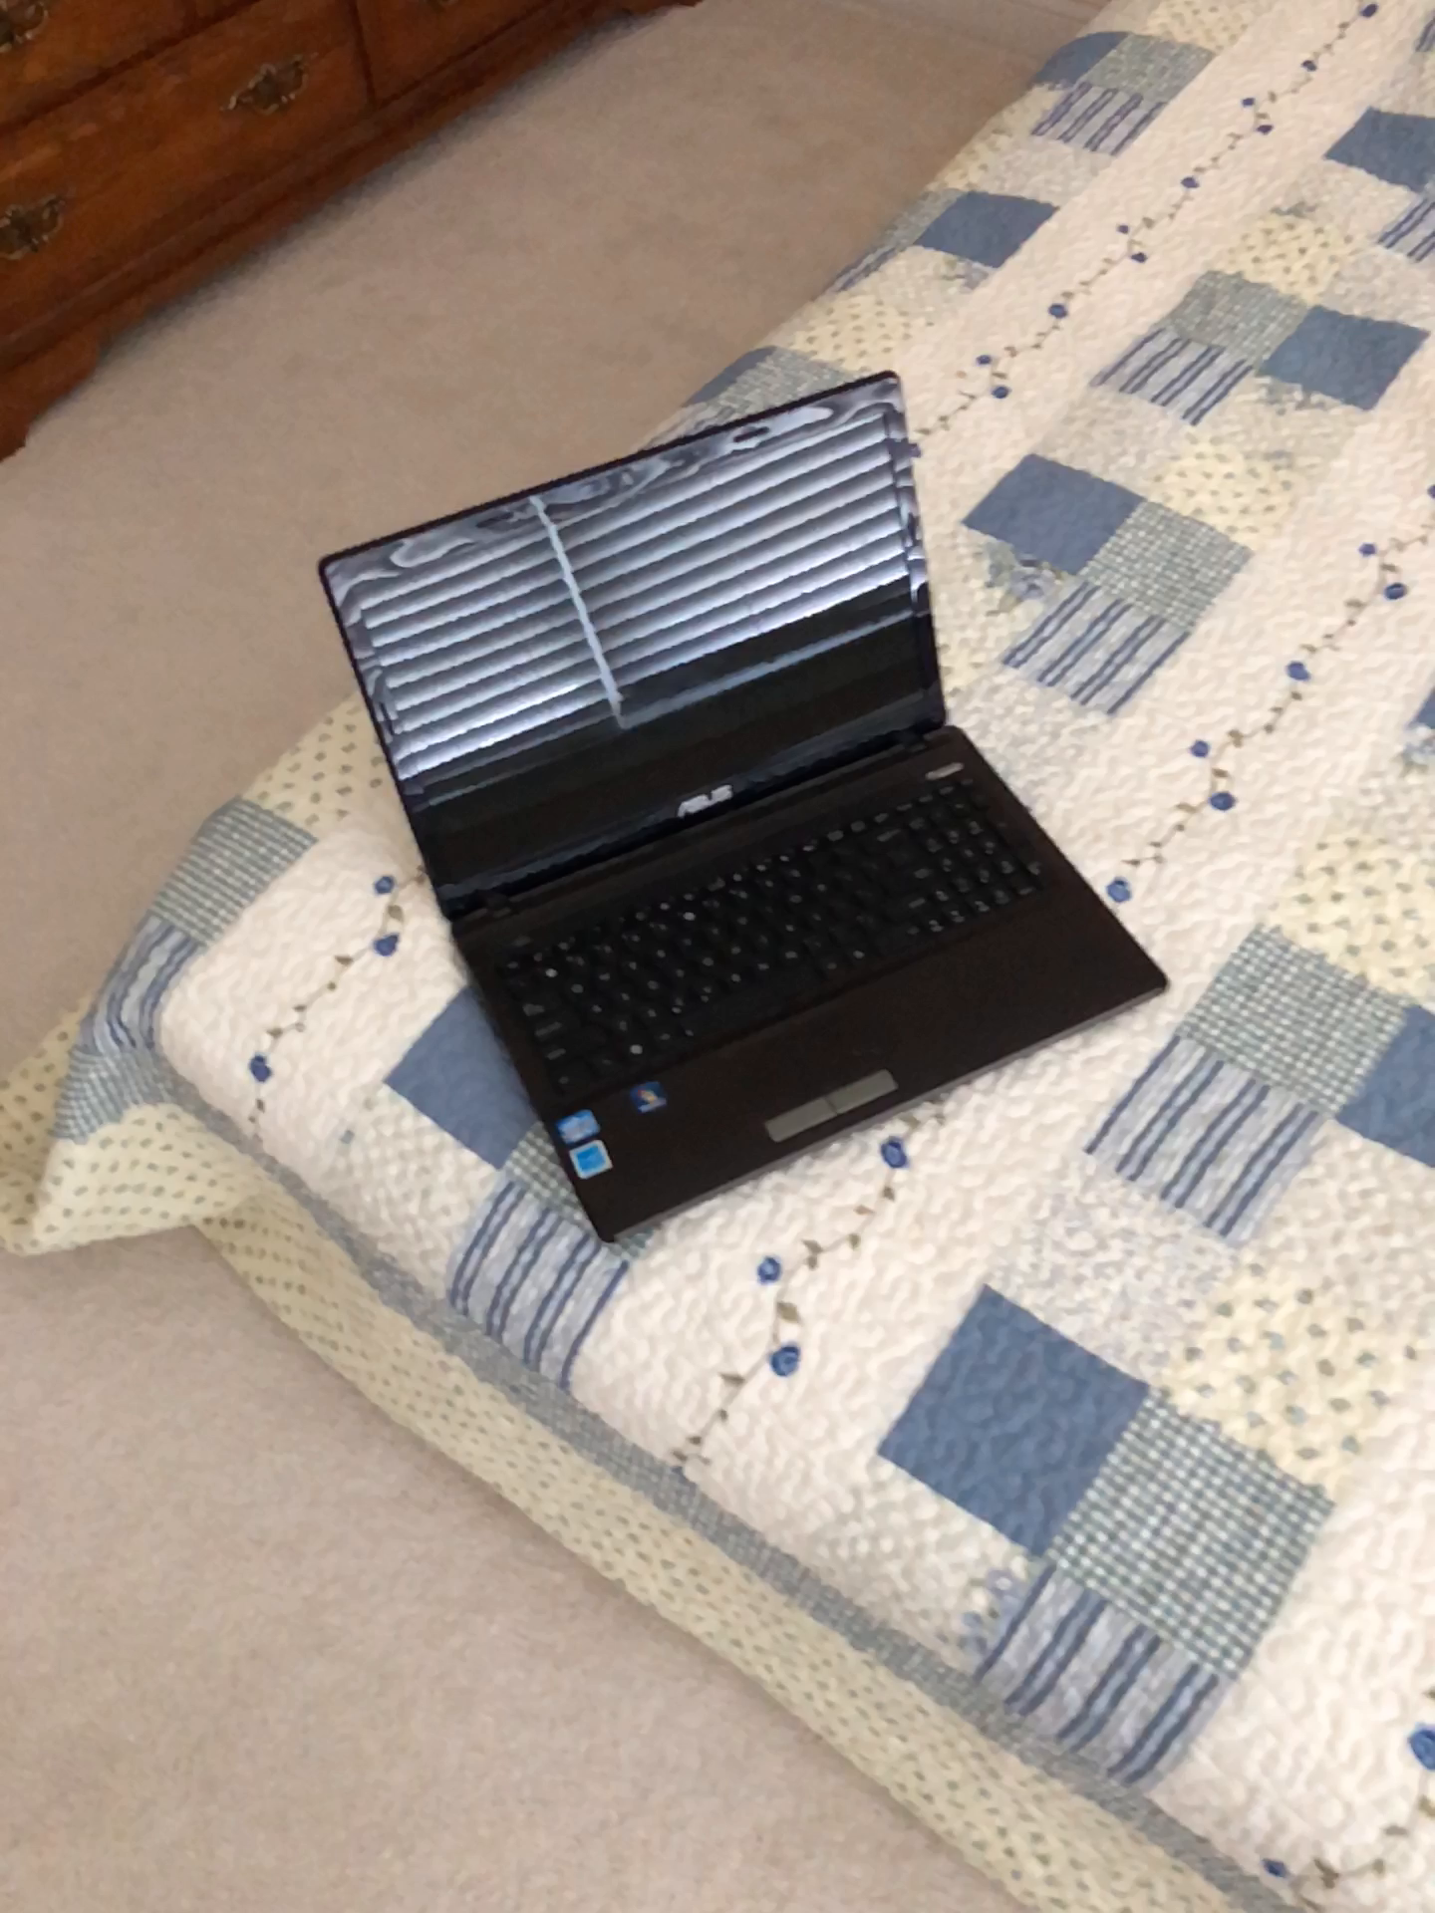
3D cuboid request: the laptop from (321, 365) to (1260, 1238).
[{"bbox_3d":[0.025,-0.102,0.884,0.358,0.193,0.351,-22,58,-13],"label":"laptop"}]
